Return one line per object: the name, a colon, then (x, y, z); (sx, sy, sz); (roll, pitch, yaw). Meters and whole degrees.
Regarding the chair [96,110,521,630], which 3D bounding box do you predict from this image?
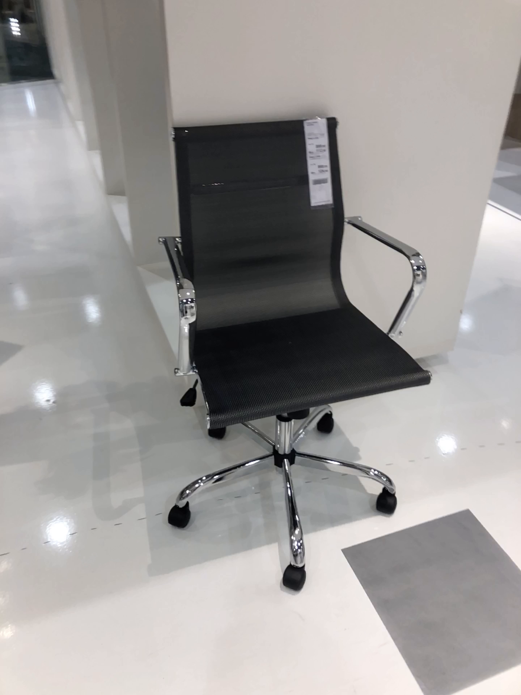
chair: (0.031, 0.010, 1.335); (0.621, 0.903, 0.654); (-10, 35, -15)
